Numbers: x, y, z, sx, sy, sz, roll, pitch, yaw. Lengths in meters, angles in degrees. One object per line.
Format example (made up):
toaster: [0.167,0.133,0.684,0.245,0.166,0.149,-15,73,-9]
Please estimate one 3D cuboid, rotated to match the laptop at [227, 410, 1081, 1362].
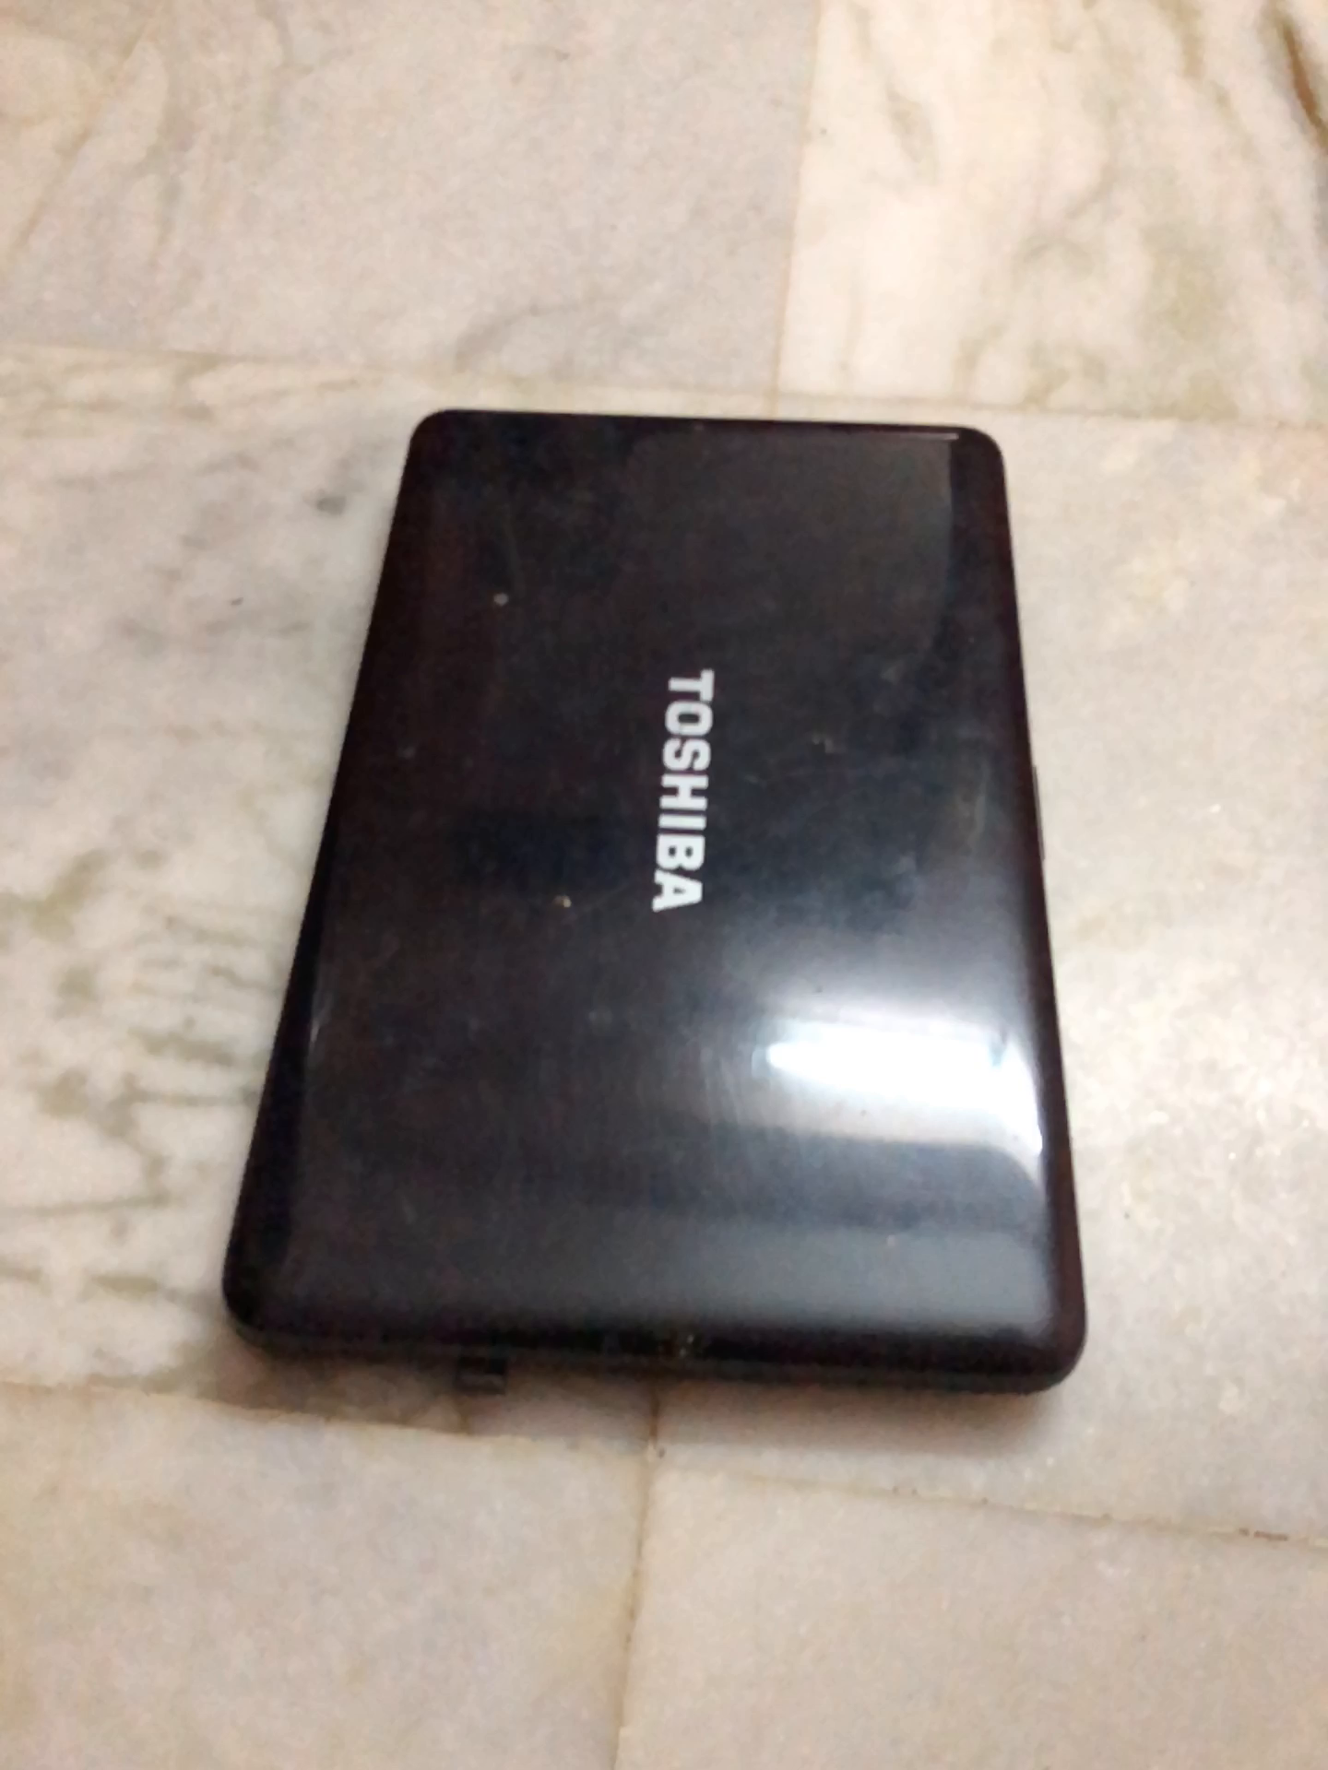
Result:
laptop: [0.007,-0.032,0.486,0.224,0.004,0.361,3,57,2]
